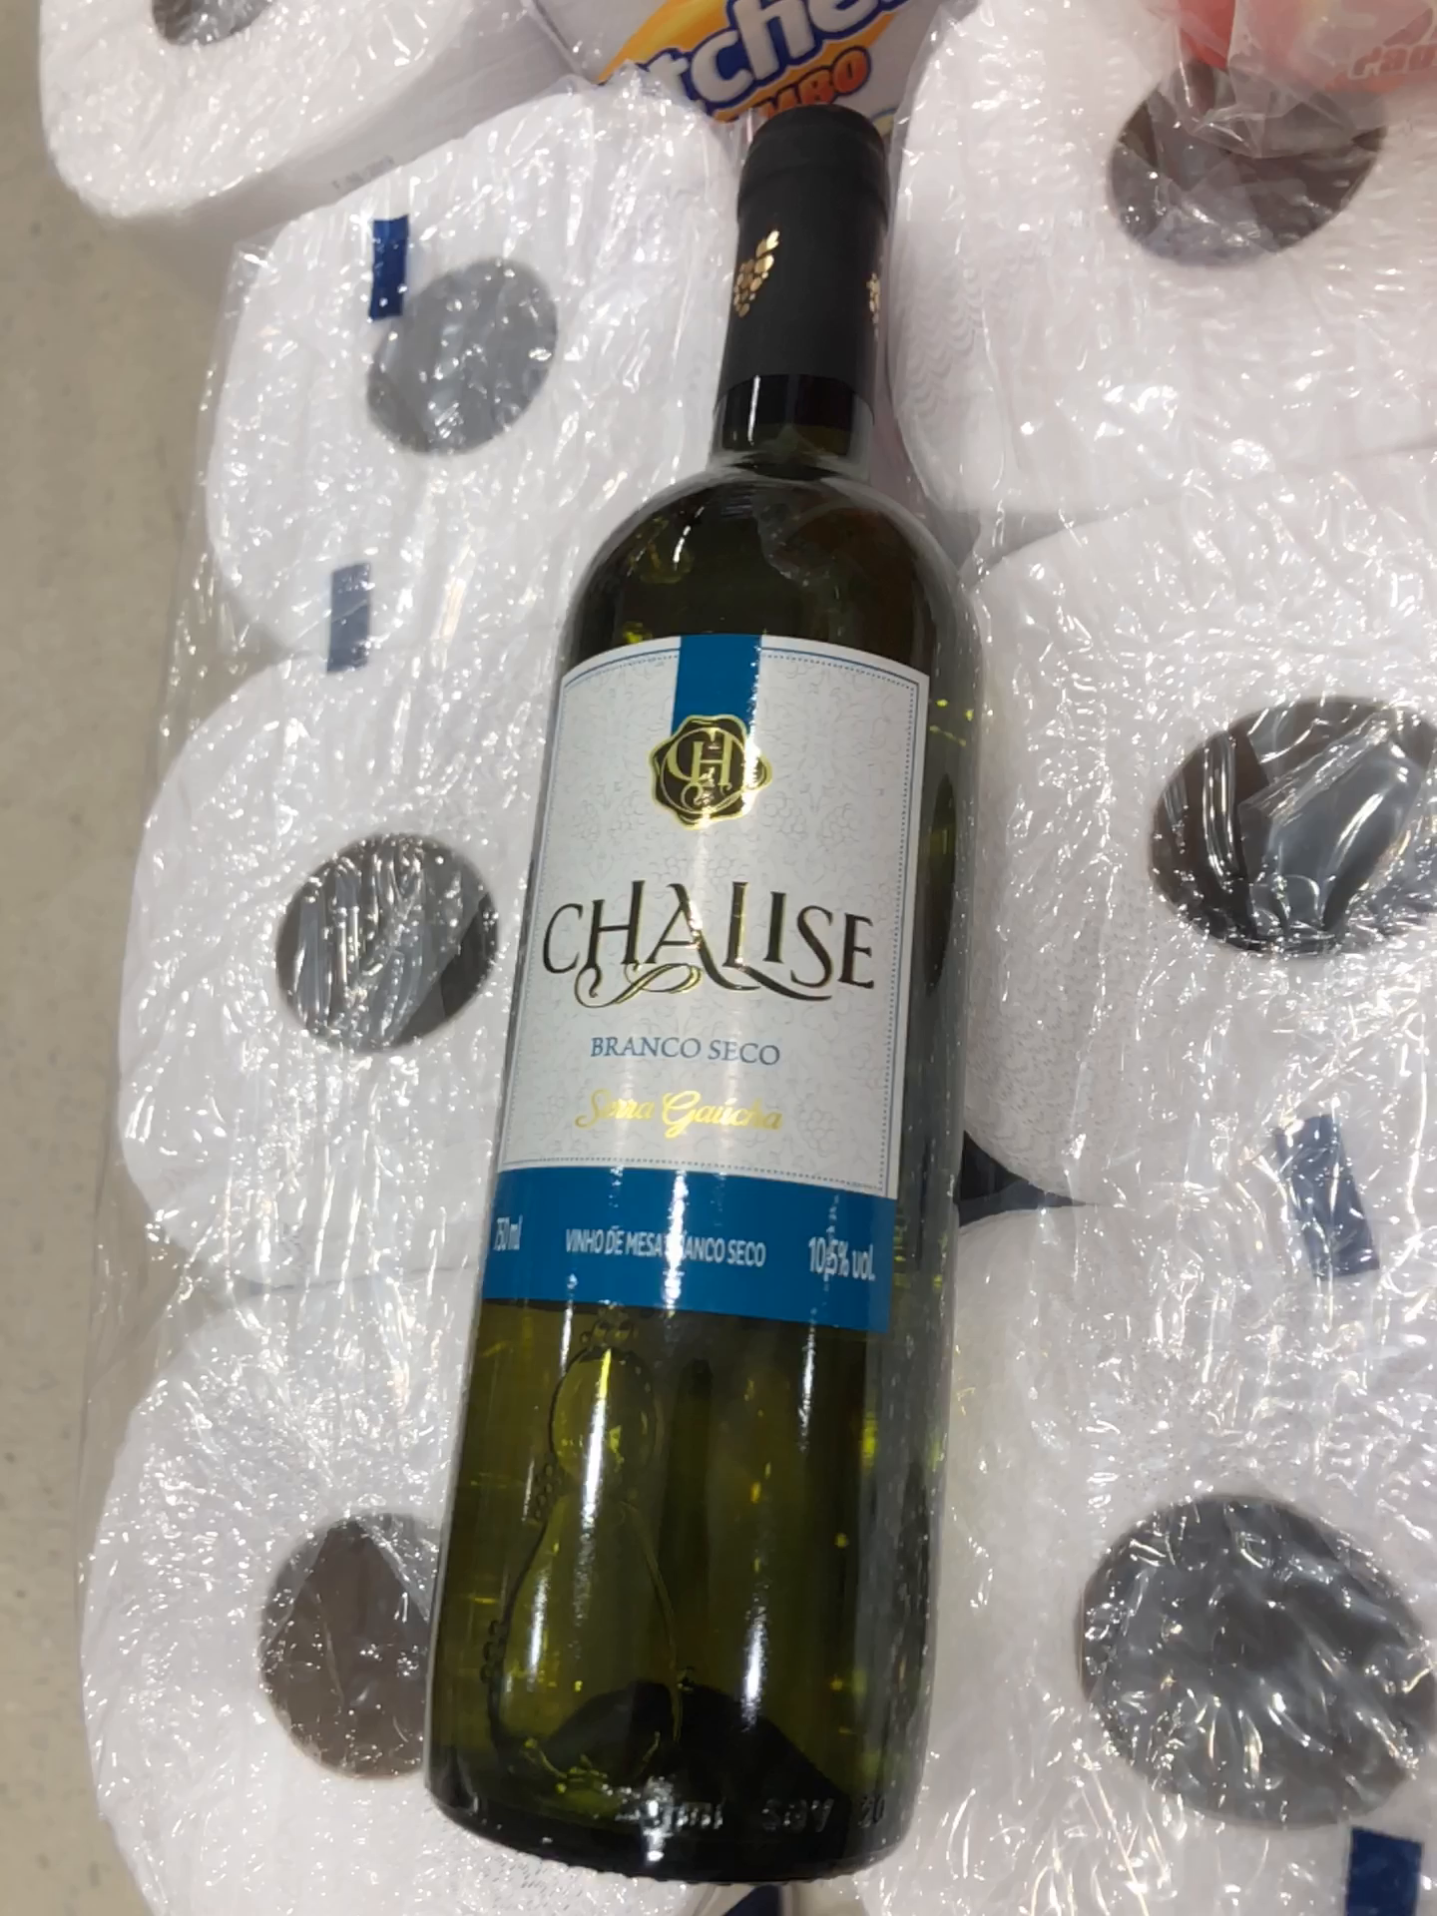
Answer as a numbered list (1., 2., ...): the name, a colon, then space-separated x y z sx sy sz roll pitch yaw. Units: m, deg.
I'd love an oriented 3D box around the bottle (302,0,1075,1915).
1. bottle: 0.008 -0.017 0.251 0.080 0.060 0.280 3 74 11
